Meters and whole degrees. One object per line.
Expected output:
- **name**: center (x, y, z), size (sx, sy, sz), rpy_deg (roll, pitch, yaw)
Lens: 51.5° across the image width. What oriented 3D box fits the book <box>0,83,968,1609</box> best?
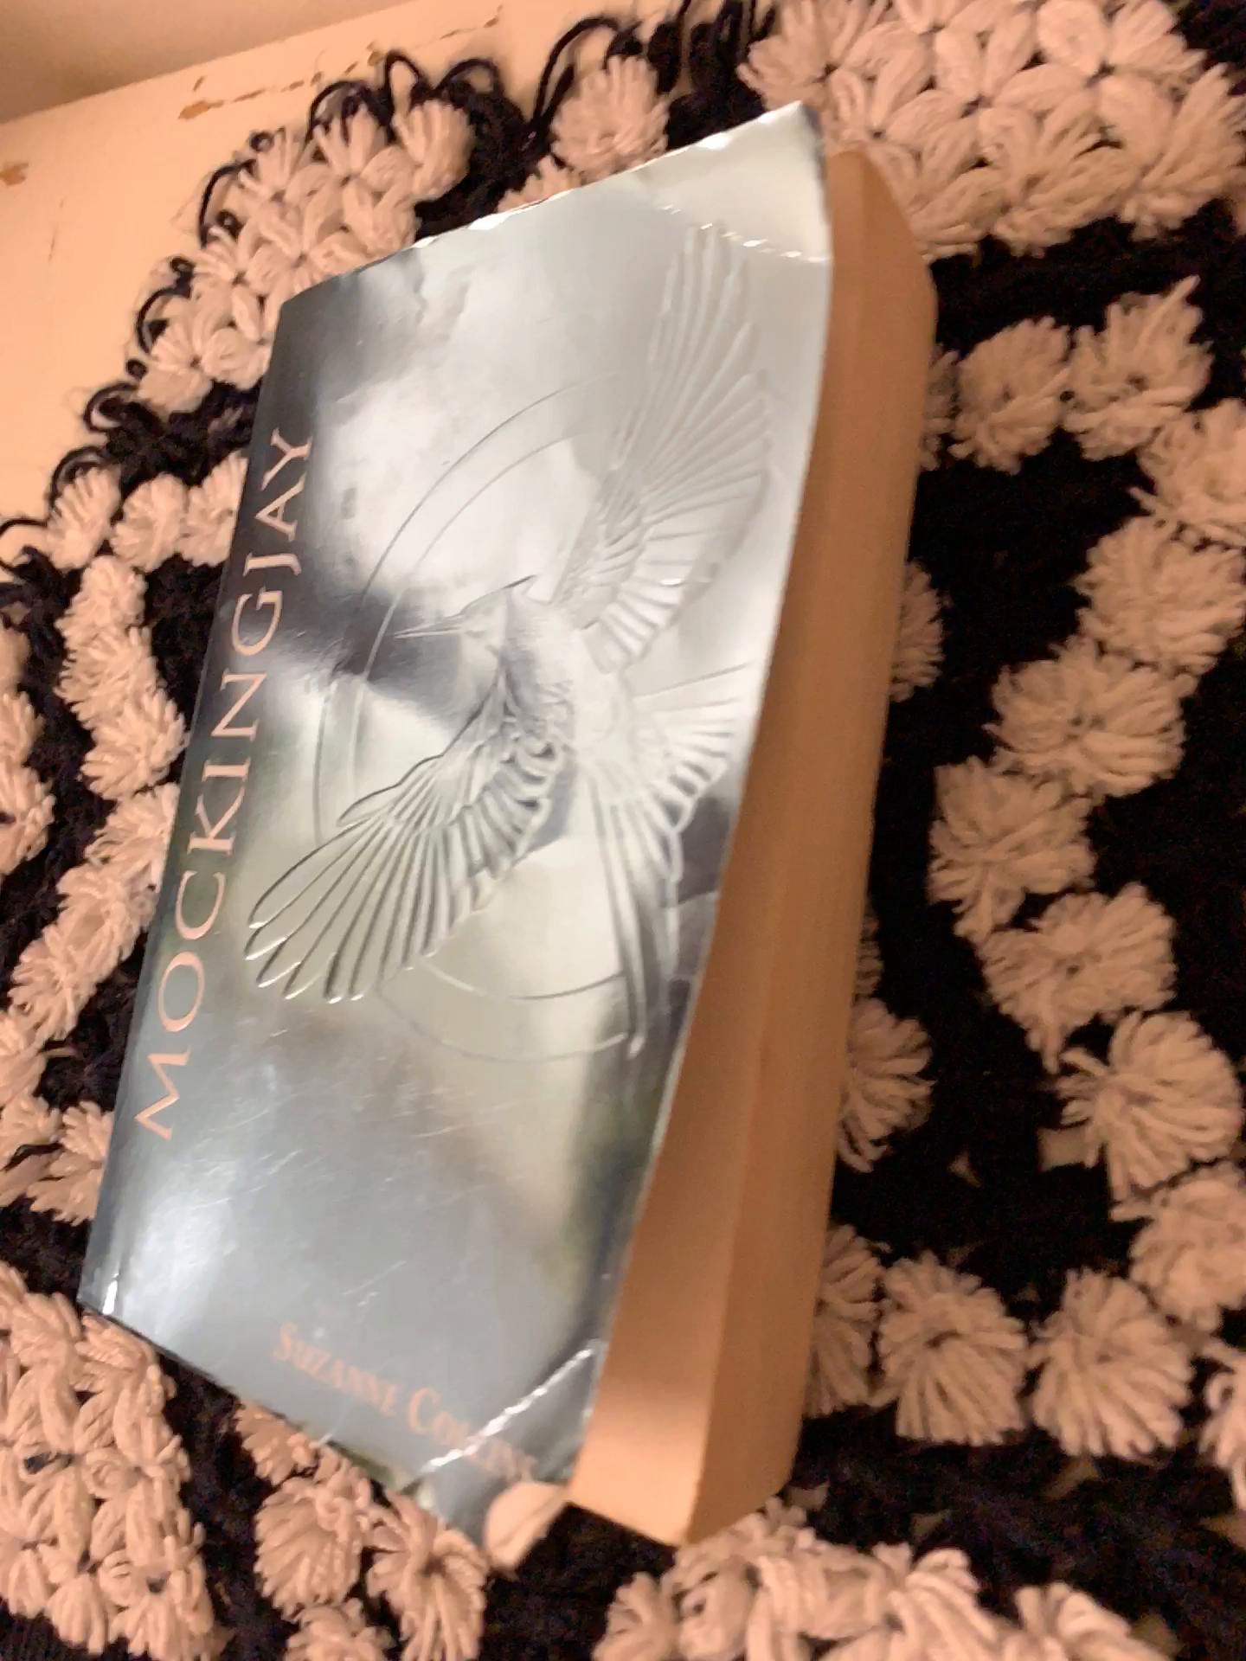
- **book**: center (-0.026, -0.007, 0.208), size (0.136, 0.036, 0.193), rpy_deg (2, 78, 29)
